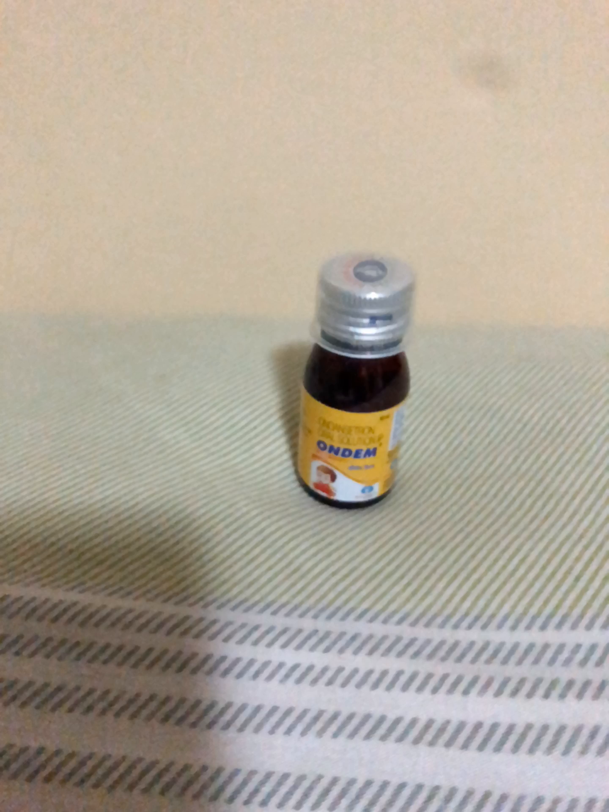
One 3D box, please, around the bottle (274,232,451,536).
[{"bbox_3d":[0.017,-0.006,0.216,0.040,0.080,0.040,2,36,-1],"label":"bottle"}]
